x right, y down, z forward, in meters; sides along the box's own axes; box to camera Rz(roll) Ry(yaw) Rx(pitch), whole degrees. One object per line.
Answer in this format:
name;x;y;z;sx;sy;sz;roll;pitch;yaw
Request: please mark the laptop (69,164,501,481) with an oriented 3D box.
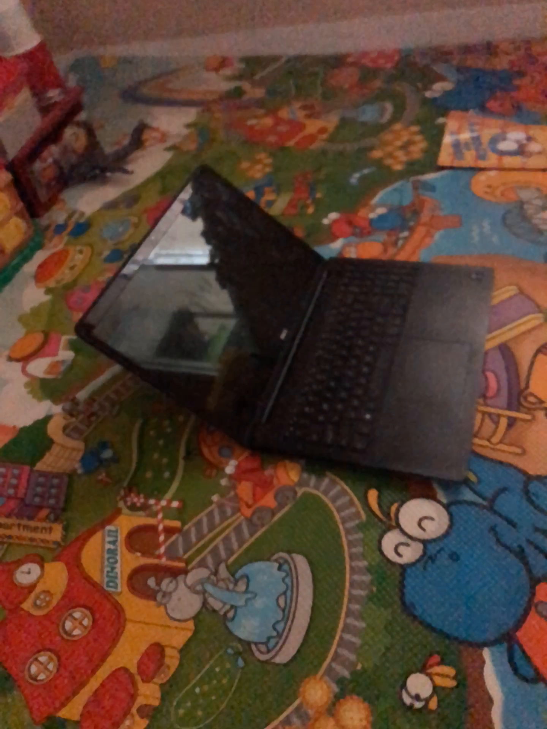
laptop;0.042;-0.087;0.777;0.429;0.158;0.363;8;49;19
